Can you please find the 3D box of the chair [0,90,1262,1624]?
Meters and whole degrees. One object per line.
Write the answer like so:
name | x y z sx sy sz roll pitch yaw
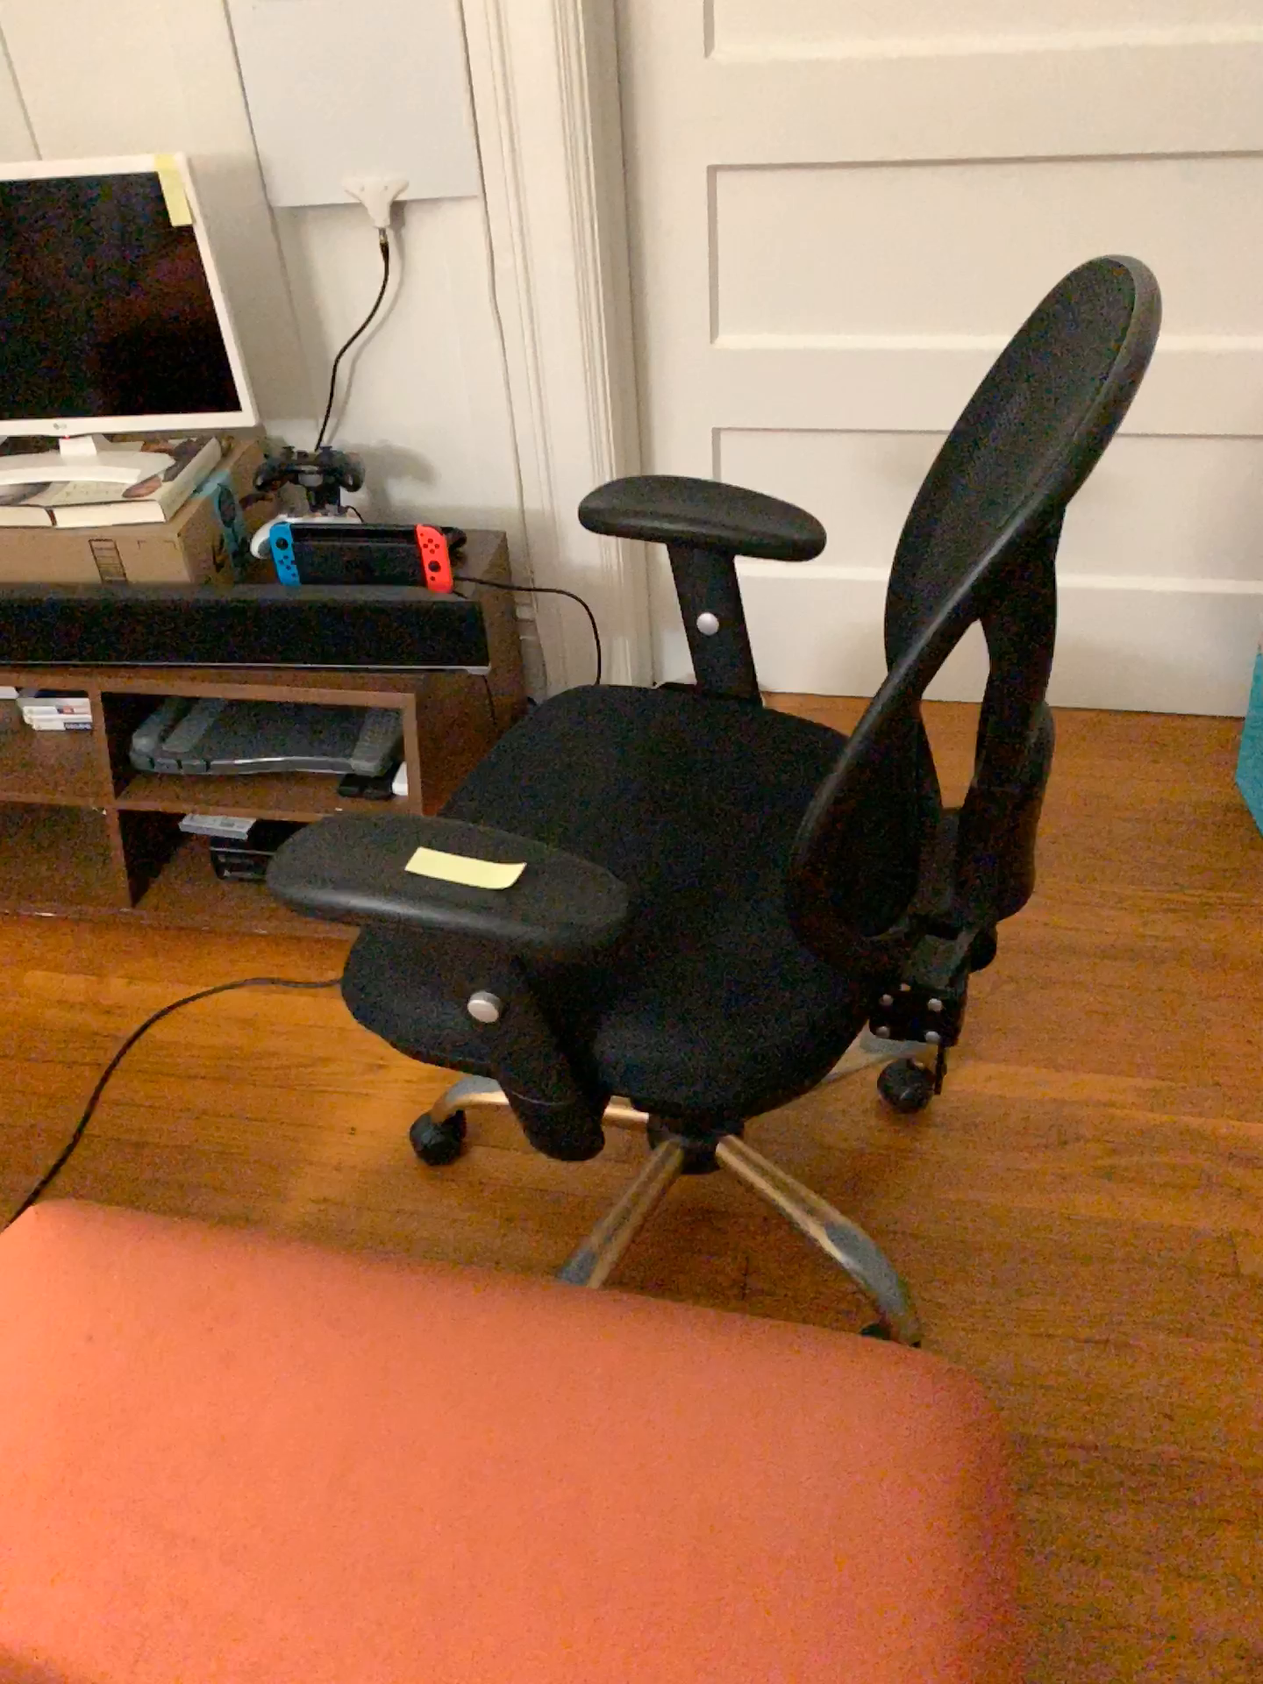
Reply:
chair | 0.080 0.011 1.092 0.661 0.974 0.643 16 43 17
